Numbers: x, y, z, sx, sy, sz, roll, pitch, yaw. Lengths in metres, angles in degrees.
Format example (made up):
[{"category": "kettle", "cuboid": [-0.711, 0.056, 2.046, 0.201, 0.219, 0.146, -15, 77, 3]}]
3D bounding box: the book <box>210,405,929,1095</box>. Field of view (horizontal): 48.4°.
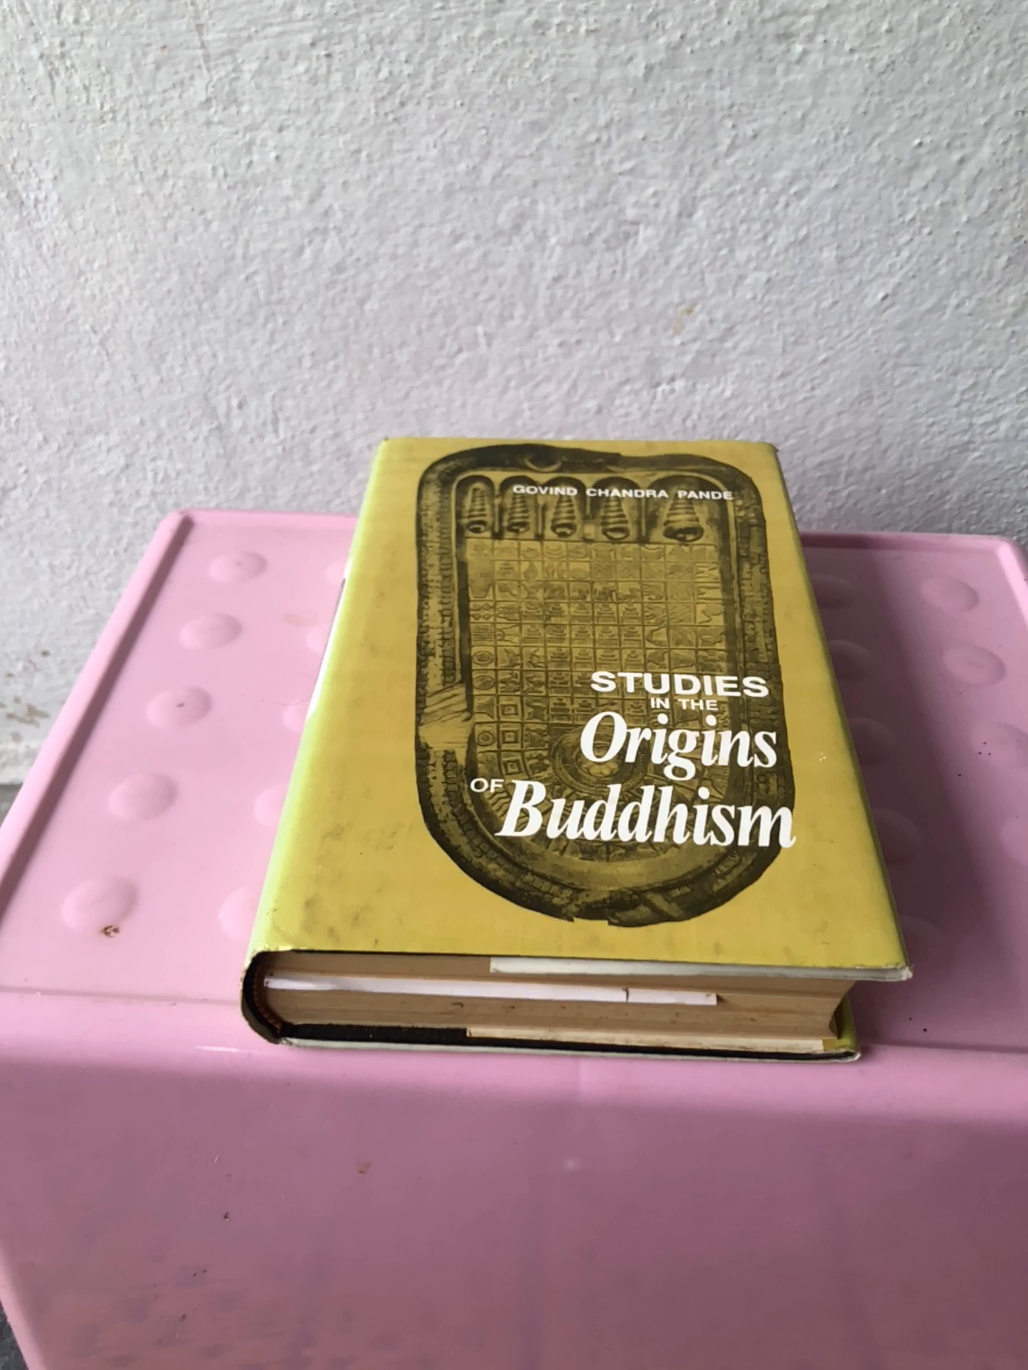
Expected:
[{"category": "book", "cuboid": [0.016, -0.004, 0.341, 0.150, 0.040, 0.241, 3, 42, 1]}]
